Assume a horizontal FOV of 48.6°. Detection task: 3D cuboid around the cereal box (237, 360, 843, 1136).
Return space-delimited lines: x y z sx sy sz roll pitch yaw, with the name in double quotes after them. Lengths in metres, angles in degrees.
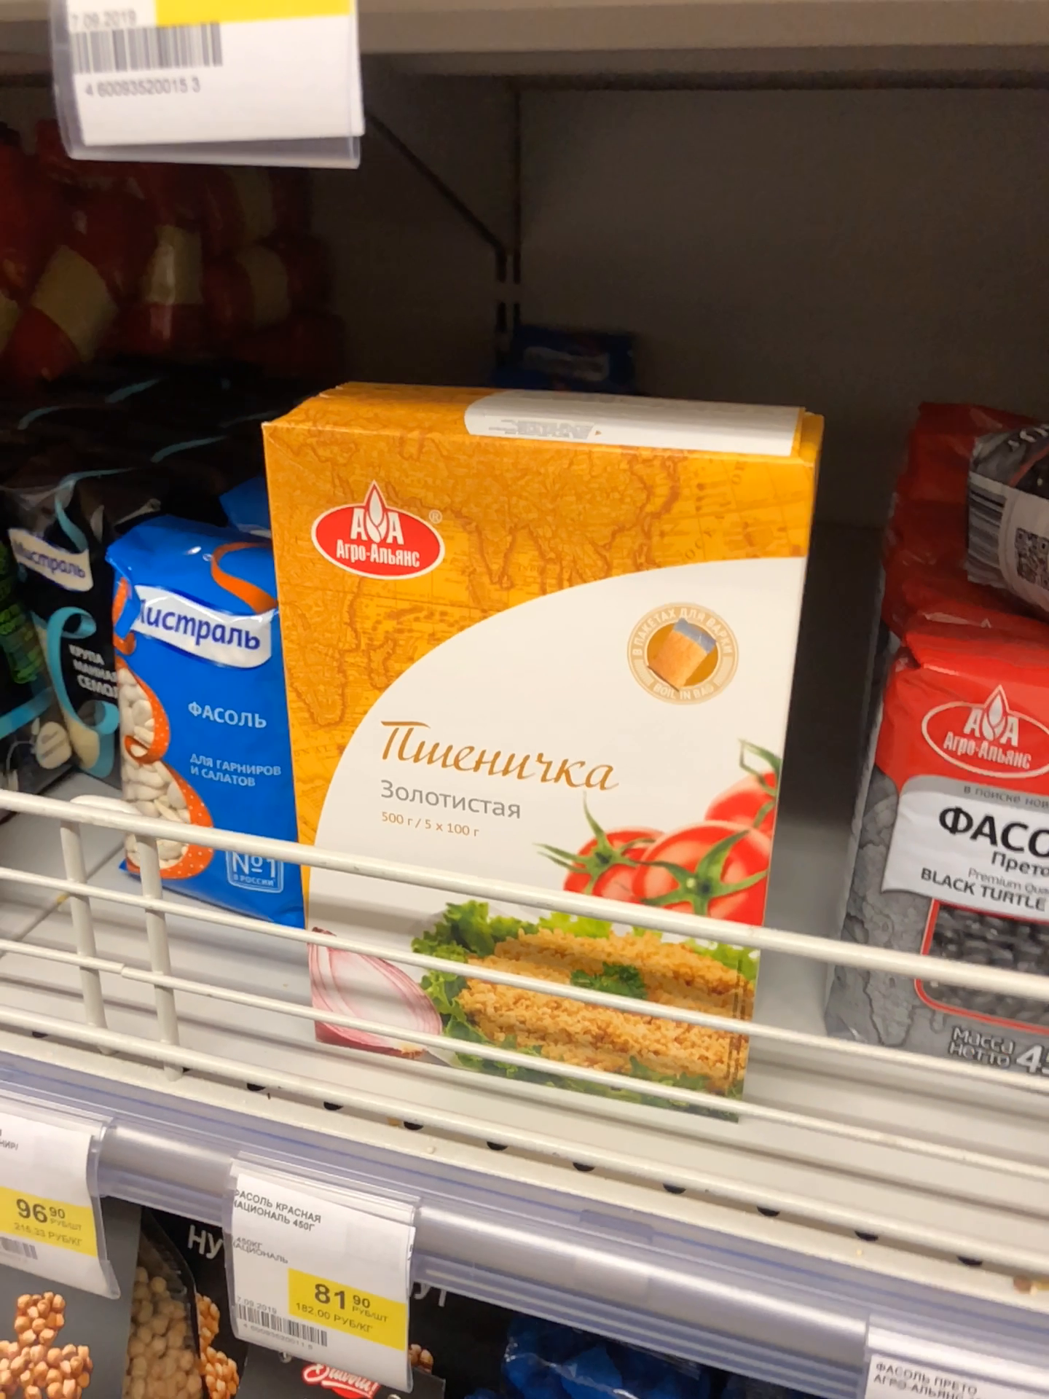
0.007 0.014 0.330 0.140 0.199 0.060 6 26 13 "cereal box"
